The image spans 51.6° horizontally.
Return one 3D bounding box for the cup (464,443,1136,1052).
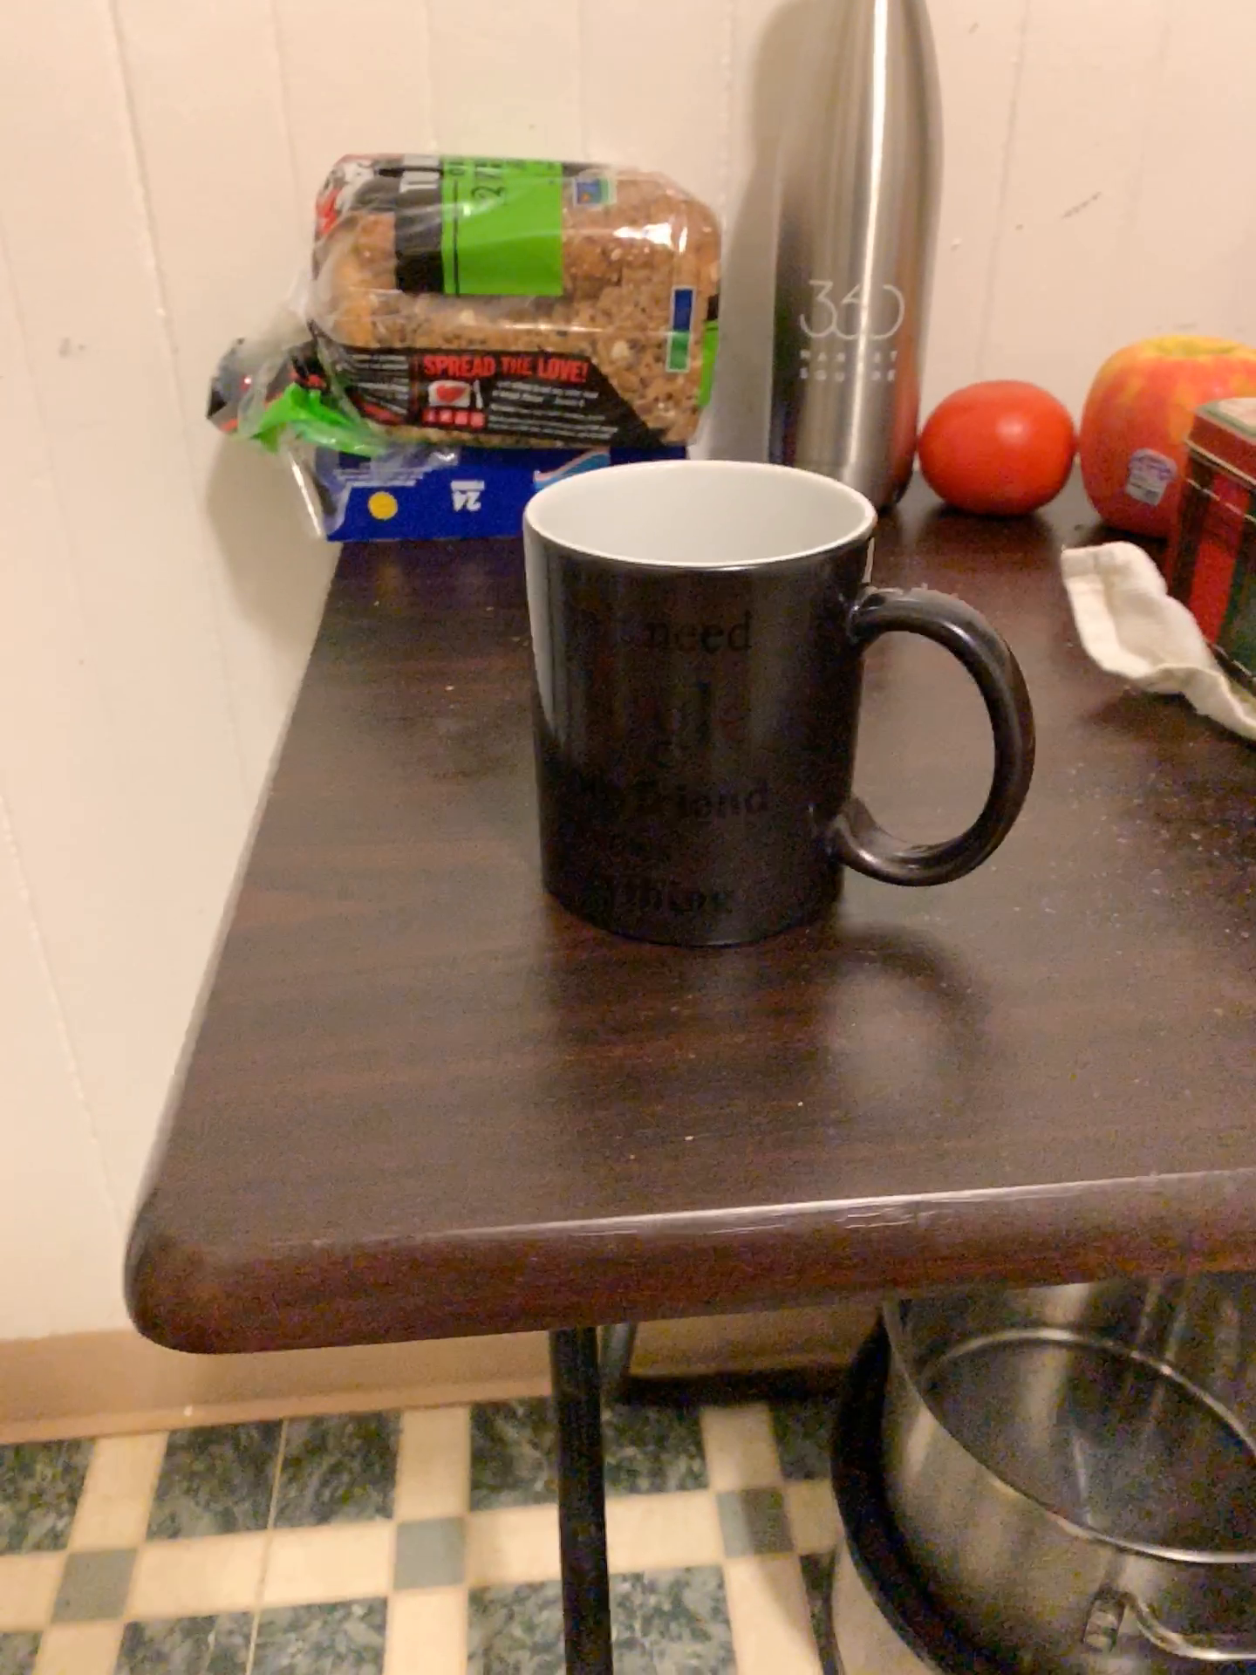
[{"bbox_3d":[0.040,-0.029,0.317,0.130,0.099,0.080,14,34,23],"label":"cup"}]
